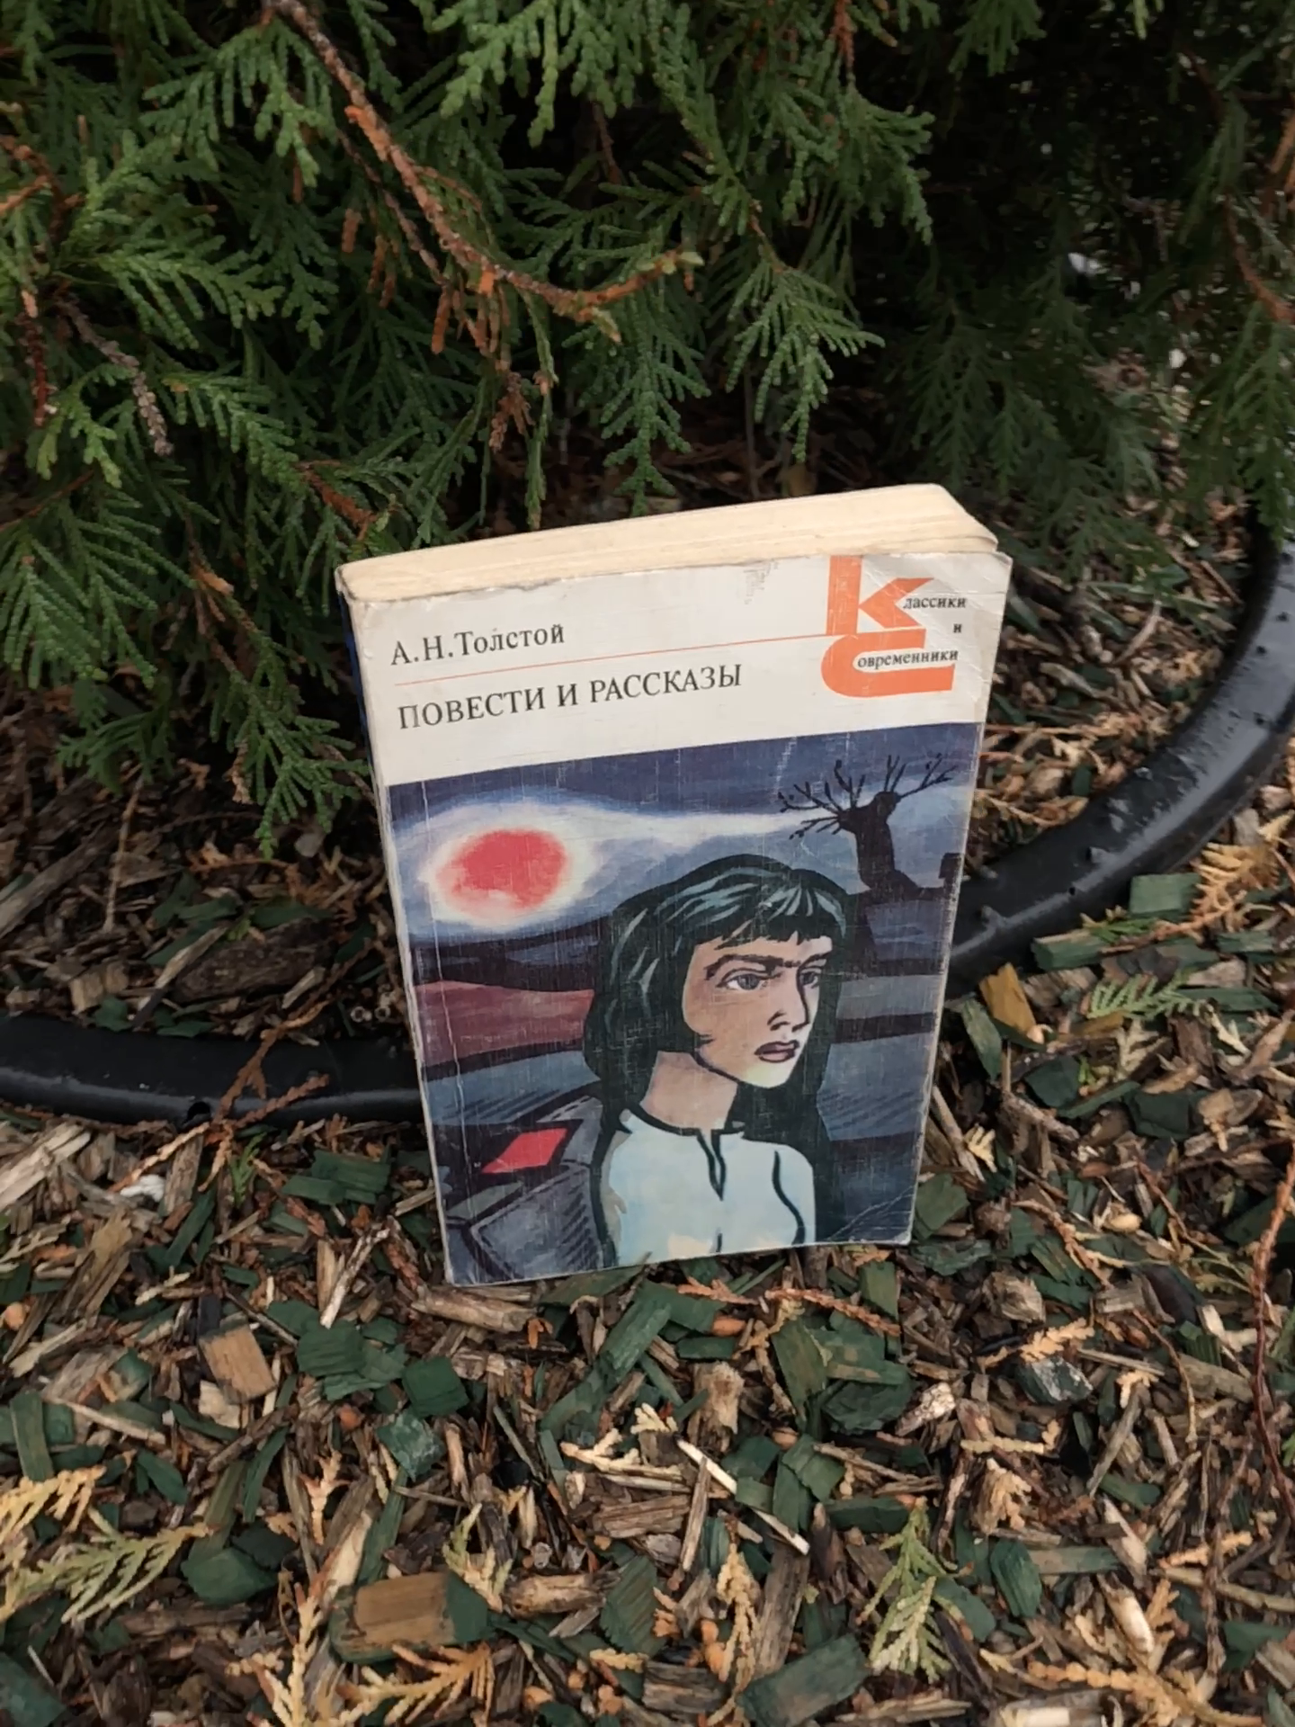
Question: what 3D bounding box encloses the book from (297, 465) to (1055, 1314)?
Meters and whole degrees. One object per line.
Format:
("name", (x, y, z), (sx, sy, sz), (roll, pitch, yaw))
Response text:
("book", (0.008, 0.018, 0.321), (0.130, 0.196, 0.041), (-6, 39, -3))
